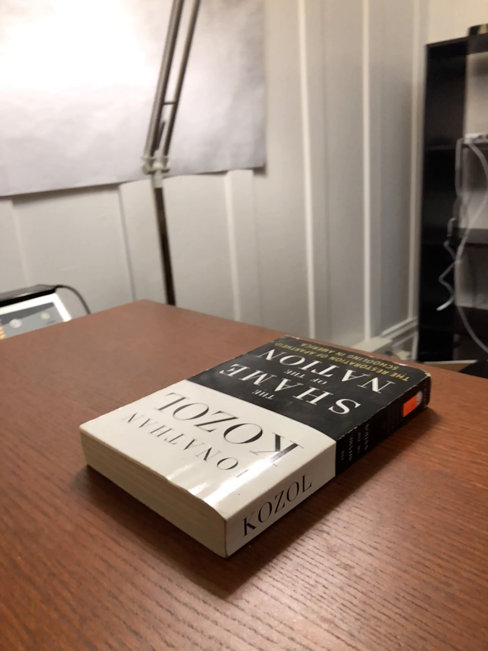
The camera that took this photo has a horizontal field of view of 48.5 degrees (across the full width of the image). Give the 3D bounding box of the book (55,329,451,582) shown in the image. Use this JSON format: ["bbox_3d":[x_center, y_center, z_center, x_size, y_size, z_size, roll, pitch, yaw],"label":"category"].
[{"bbox_3d":[0.015,0.061,0.379,0.160,0.030,0.231,13,25,43],"label":"book"}]
